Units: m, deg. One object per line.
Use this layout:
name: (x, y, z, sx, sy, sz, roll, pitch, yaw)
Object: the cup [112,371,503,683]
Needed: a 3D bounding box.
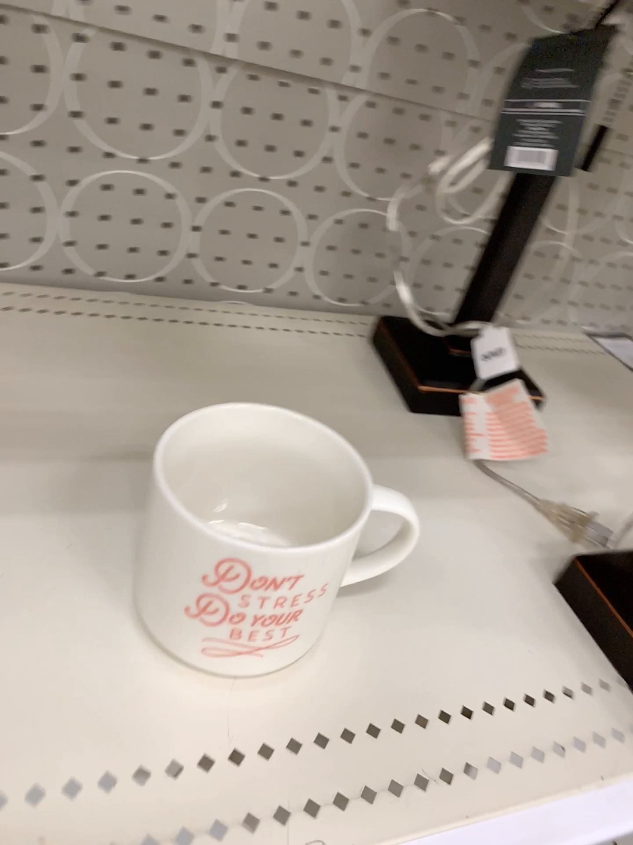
cup: (-0.015, 0.046, 0.314, 0.150, 0.090, 0.100, 2, 38, -21)
